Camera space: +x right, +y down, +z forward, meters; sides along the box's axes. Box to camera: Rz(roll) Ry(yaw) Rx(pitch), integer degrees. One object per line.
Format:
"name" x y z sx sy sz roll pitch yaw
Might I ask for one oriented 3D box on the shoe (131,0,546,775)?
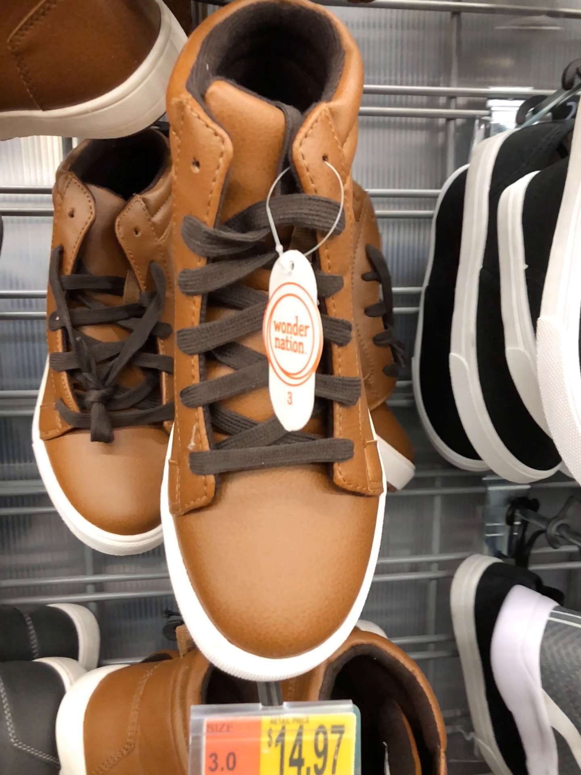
"shoe" -0.001 -0.013 0.230 0.096 0.227 0.110 -2 -12 -12
